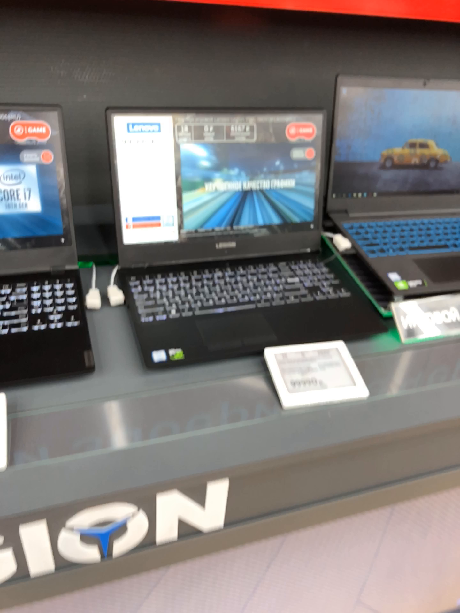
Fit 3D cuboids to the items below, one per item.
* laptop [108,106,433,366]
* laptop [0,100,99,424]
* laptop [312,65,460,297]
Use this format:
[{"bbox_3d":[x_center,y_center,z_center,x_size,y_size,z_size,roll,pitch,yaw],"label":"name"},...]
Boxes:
[{"bbox_3d":[0.026,-0.129,0.738,0.352,0.225,0.302,-7,37,-17],"label":"laptop"},{"bbox_3d":[-0.372,-0.086,0.615,0.353,0.223,0.316,-7,37,-20],"label":"laptop"},{"bbox_3d":[0.384,-0.236,0.878,0.354,0.225,0.335,-6,40,-16],"label":"laptop"}]
